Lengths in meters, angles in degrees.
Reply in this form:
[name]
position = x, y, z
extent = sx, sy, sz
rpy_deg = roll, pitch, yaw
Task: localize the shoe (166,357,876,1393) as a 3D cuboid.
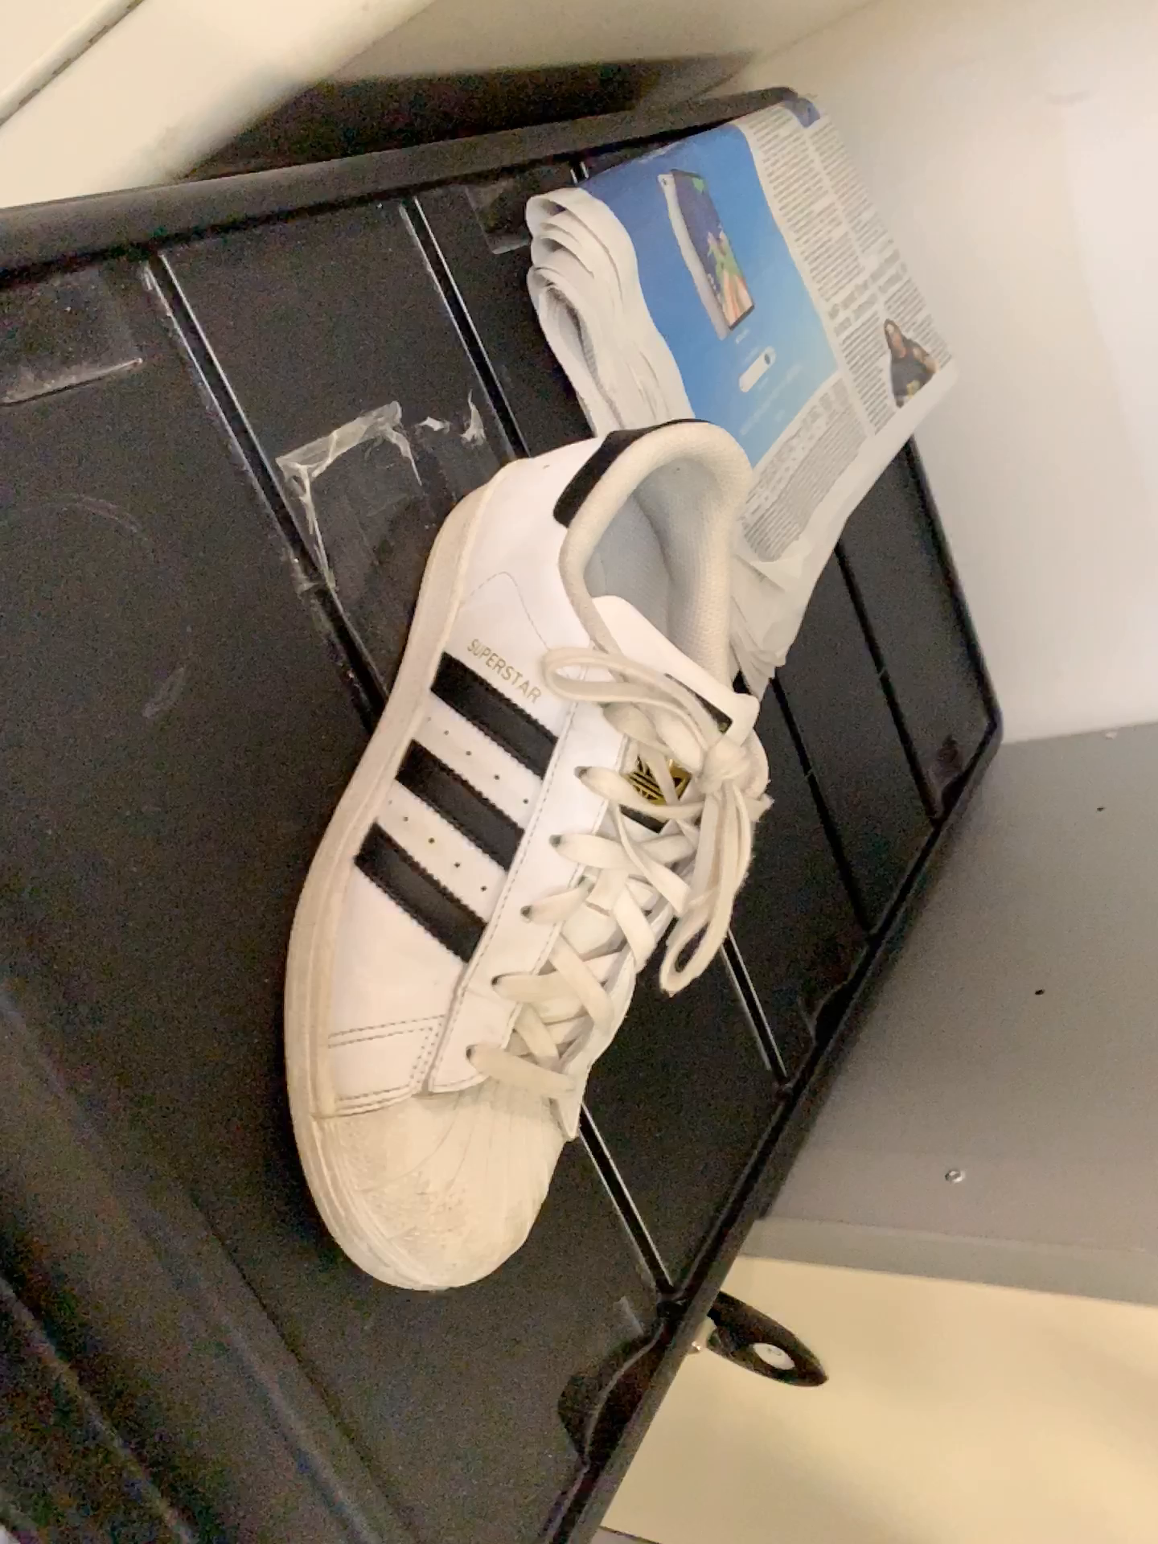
[shoe]
position = -0.002, 0.025, 0.332
extent = 0.104, 0.092, 0.243
rpy_deg = 35, 63, -43
